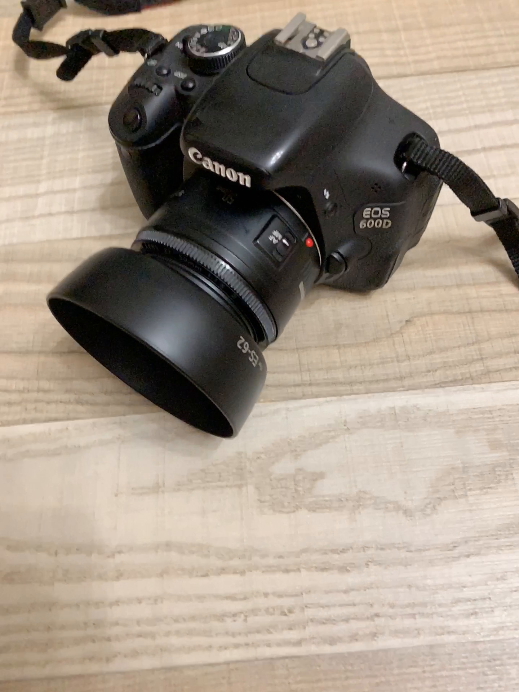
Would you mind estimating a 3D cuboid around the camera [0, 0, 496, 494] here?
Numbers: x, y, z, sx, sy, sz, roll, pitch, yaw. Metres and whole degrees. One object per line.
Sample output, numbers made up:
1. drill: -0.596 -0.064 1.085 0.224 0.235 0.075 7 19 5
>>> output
1. camera: -0.018 -0.052 0.215 0.139 0.090 0.150 30 70 16
